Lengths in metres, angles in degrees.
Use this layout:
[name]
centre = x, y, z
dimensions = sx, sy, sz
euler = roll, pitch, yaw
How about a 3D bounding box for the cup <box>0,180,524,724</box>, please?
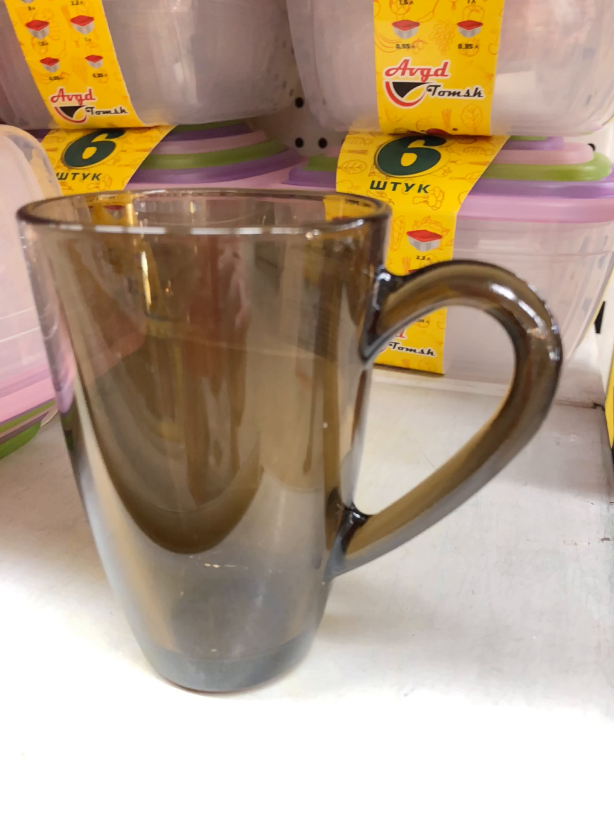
[cup]
centre = -0.016, 0.001, 0.158
dimensions = 0.112, 0.096, 0.072
euler = 3, 24, 10
